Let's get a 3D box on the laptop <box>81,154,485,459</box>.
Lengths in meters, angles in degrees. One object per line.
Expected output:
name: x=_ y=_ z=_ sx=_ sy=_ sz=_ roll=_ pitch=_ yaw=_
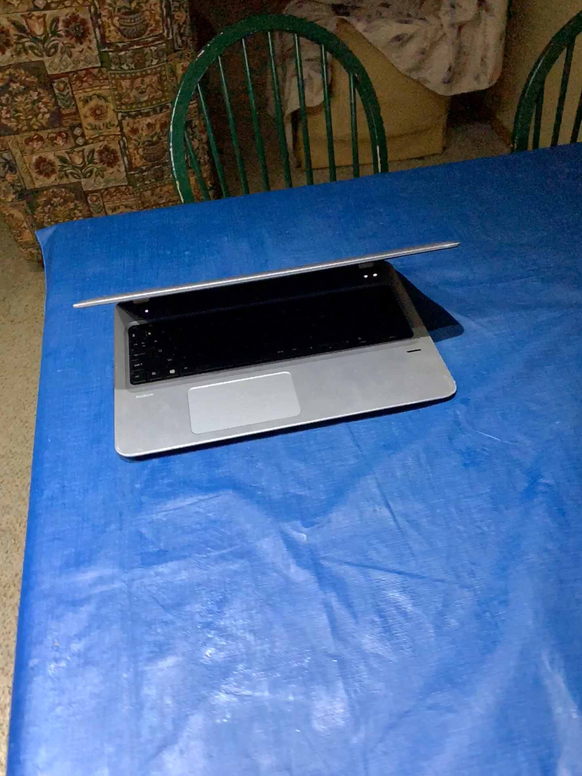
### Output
laptop: x=-0.024 y=-0.103 z=0.667 sx=0.365 sy=0.156 sz=0.255 roll=-10 pitch=48 yaw=-5
